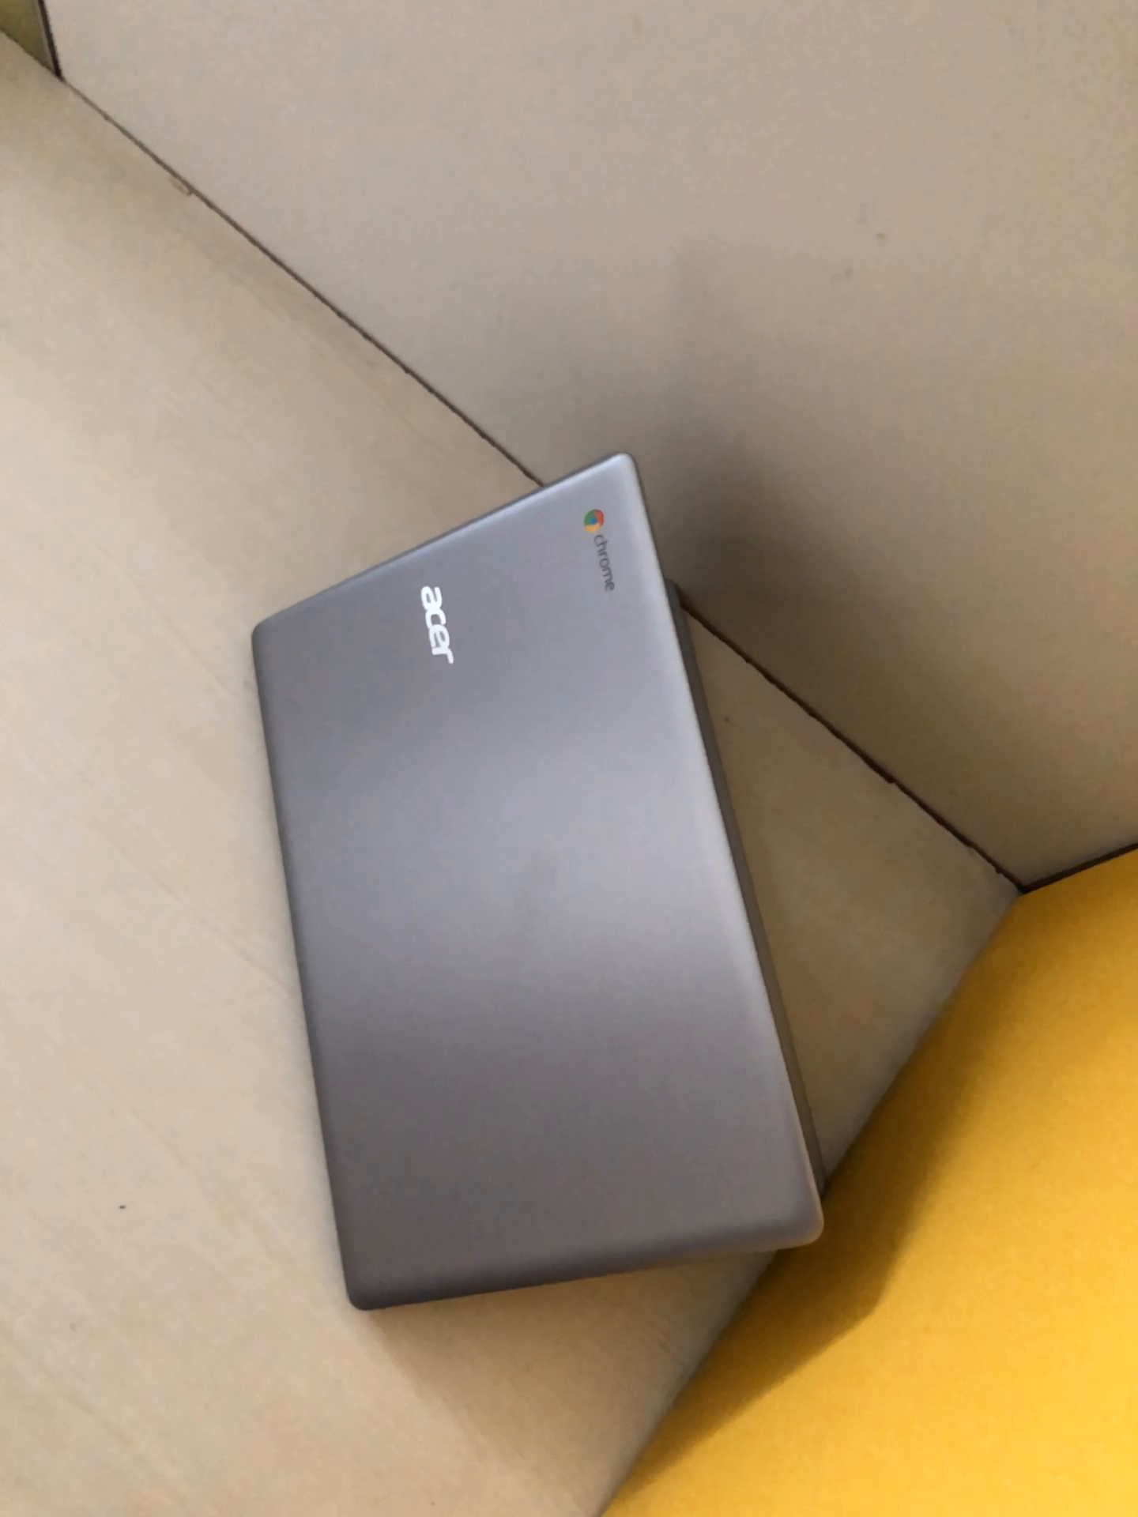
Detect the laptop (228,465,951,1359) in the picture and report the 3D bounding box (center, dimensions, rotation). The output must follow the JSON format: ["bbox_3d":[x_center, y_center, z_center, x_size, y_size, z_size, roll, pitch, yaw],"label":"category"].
[{"bbox_3d":[-0.009,0.057,0.548,0.221,0.135,0.315,-9,75,-12],"label":"laptop"}]
